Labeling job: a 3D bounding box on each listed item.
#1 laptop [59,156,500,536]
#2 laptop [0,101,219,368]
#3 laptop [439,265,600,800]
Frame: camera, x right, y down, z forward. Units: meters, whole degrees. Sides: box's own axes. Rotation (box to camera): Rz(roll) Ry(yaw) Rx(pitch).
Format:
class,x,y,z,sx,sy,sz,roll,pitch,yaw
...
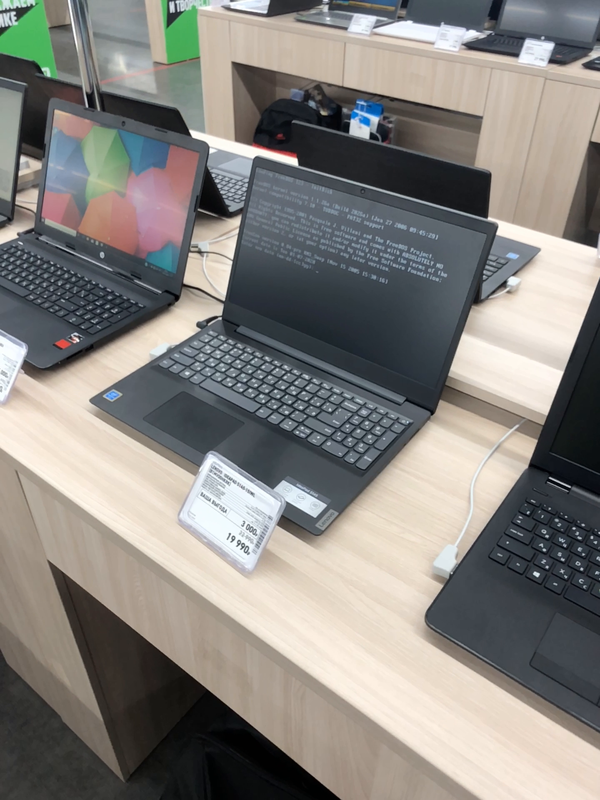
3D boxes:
class,x,y,z,sx,sy,sz,roll,pitch,yaw
laptop,-0.018,-0.096,0.760,0.340,0.210,0.322,26,45,29
laptop,-0.367,-0.267,0.970,0.352,0.202,0.321,27,45,29
laptop,0.334,0.101,0.505,0.337,0.208,0.298,26,45,28
